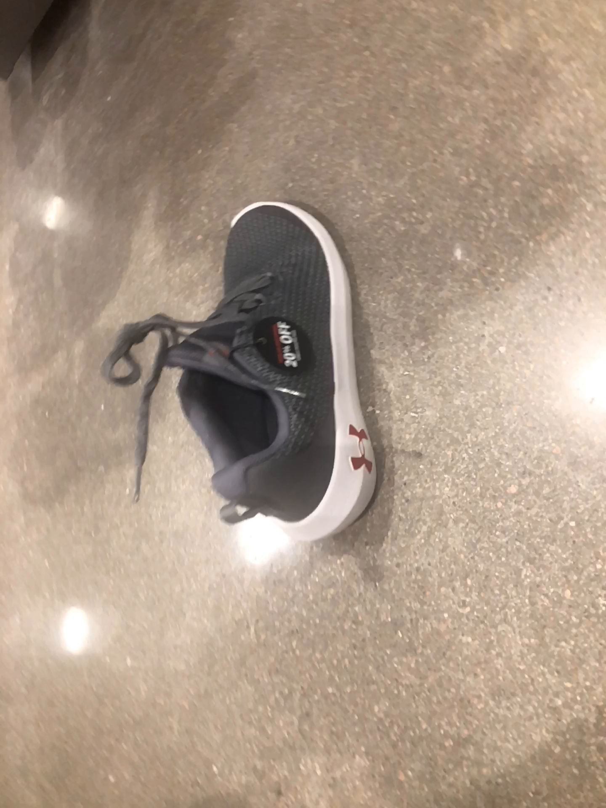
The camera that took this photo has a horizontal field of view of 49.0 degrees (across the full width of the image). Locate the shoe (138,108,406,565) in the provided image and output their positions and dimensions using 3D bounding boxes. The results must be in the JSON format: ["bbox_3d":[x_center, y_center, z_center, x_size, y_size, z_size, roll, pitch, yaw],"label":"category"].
[{"bbox_3d":[-0.032,-0.041,0.439,0.116,0.084,0.265,-29,60,36],"label":"shoe"}]
